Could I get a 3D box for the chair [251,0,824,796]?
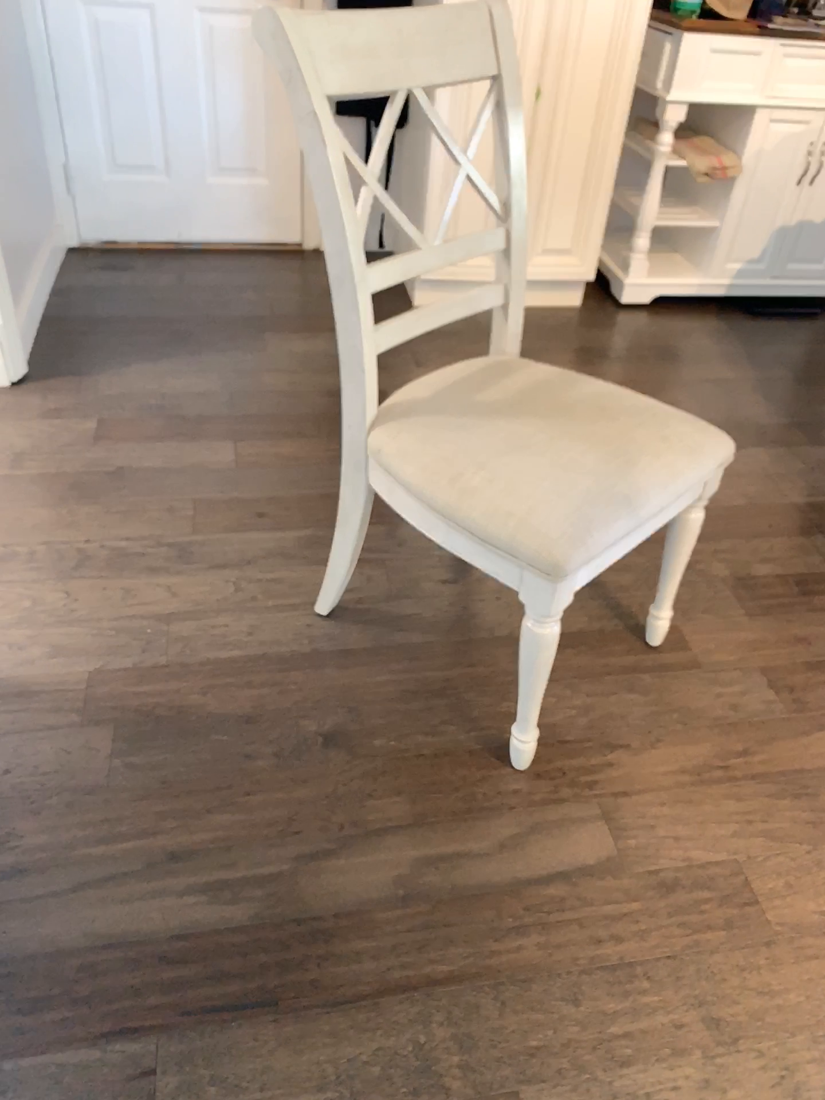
[{"bbox_3d":[0.185,-0.261,1.304,0.652,0.924,0.531,34,46,31],"label":"chair"}]
